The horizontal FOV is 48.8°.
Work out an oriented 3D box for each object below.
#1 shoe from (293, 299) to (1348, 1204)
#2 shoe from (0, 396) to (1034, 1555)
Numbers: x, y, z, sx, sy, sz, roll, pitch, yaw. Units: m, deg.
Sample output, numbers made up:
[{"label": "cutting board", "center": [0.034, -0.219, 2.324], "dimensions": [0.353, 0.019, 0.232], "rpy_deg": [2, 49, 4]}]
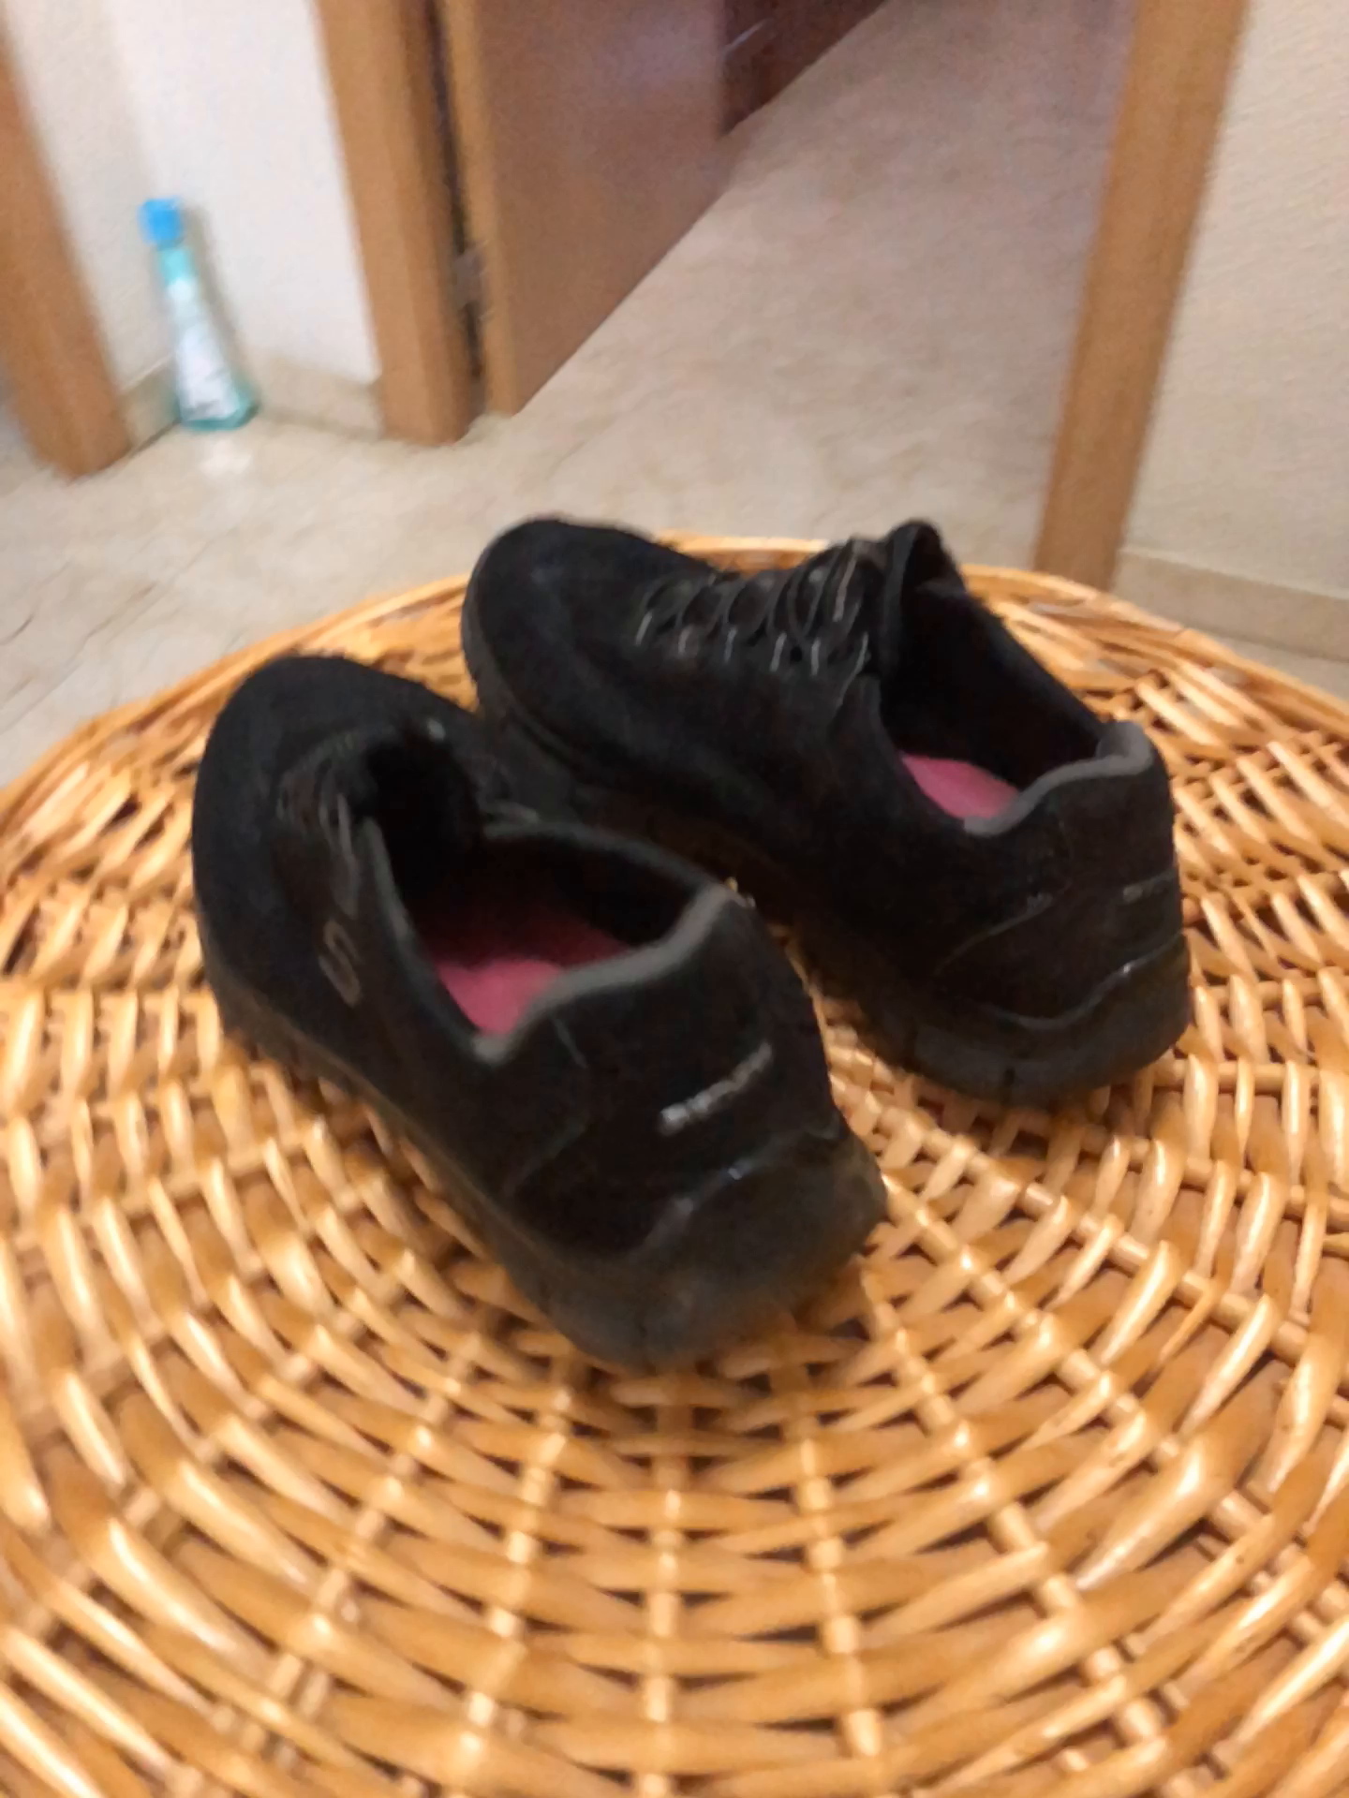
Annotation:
[{"label": "shoe", "center": [0.026, -0.060, 0.395], "dimensions": [0.118, 0.079, 0.265], "rpy_deg": [-32, 53, -26]}, {"label": "shoe", "center": [-0.058, -0.010, 0.344], "dimensions": [0.117, 0.079, 0.265], "rpy_deg": [-26, 51, -21]}]
